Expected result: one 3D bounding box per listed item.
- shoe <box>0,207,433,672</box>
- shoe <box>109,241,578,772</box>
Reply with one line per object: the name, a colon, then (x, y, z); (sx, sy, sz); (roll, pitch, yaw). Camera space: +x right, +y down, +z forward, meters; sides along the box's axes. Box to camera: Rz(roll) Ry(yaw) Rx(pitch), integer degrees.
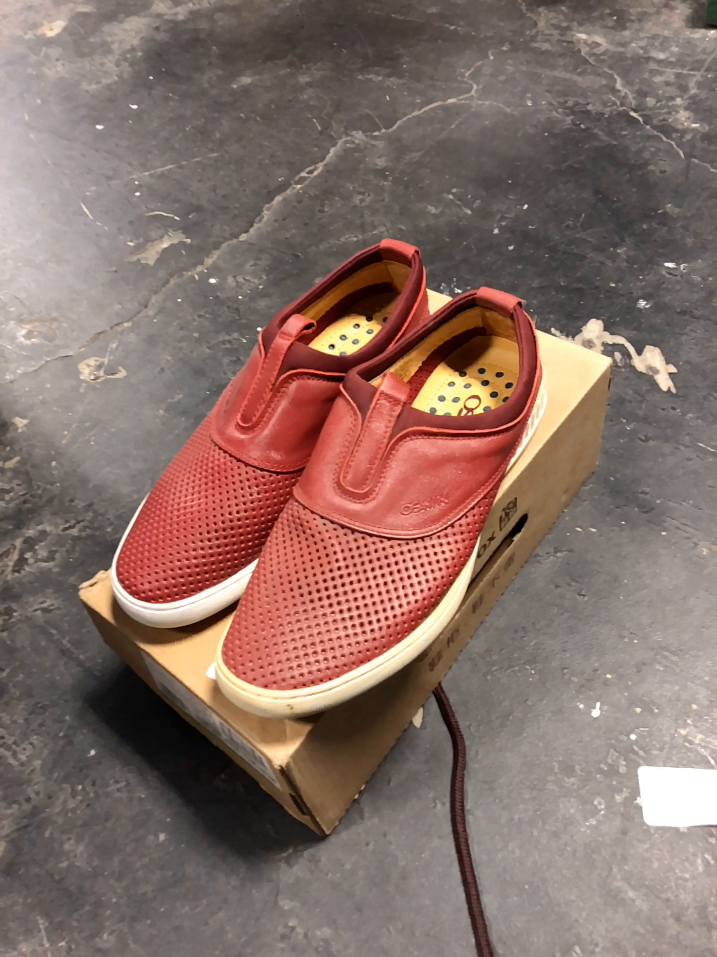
shoe: (-0.064, -0.031, 0.445); (0.100, 0.109, 0.231); (24, 59, 26)
shoe: (0.010, 0.003, 0.398); (0.100, 0.109, 0.231); (24, 59, 26)
